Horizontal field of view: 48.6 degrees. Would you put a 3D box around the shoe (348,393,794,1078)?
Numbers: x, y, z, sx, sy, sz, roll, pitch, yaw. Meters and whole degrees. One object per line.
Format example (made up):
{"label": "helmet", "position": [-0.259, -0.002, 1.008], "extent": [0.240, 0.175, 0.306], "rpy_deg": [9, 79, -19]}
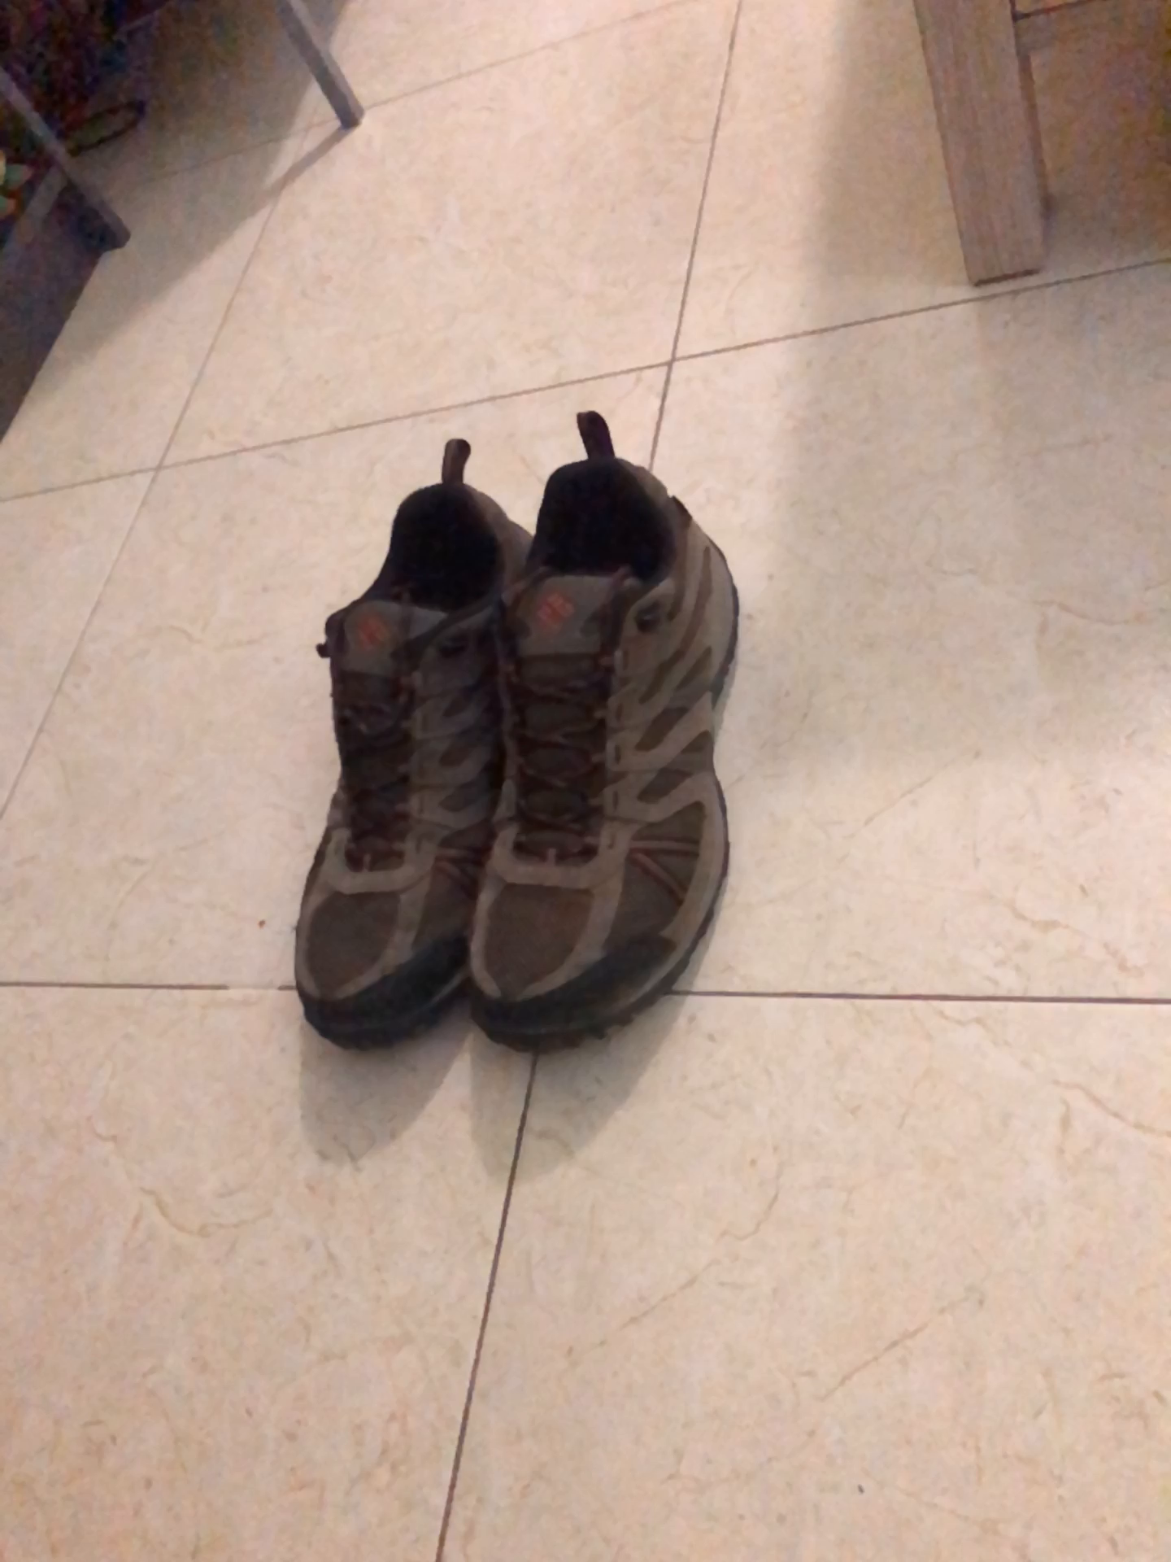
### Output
{"label": "shoe", "position": [0.009, -0.028, 0.644], "extent": [0.120, 0.120, 0.311], "rpy_deg": [-2, 58, 26]}

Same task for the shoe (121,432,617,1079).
{"label": "shoe", "position": [-0.096, -0.020, 0.673], "extent": [0.130, 0.110, 0.310], "rpy_deg": [0, 59, 27]}
